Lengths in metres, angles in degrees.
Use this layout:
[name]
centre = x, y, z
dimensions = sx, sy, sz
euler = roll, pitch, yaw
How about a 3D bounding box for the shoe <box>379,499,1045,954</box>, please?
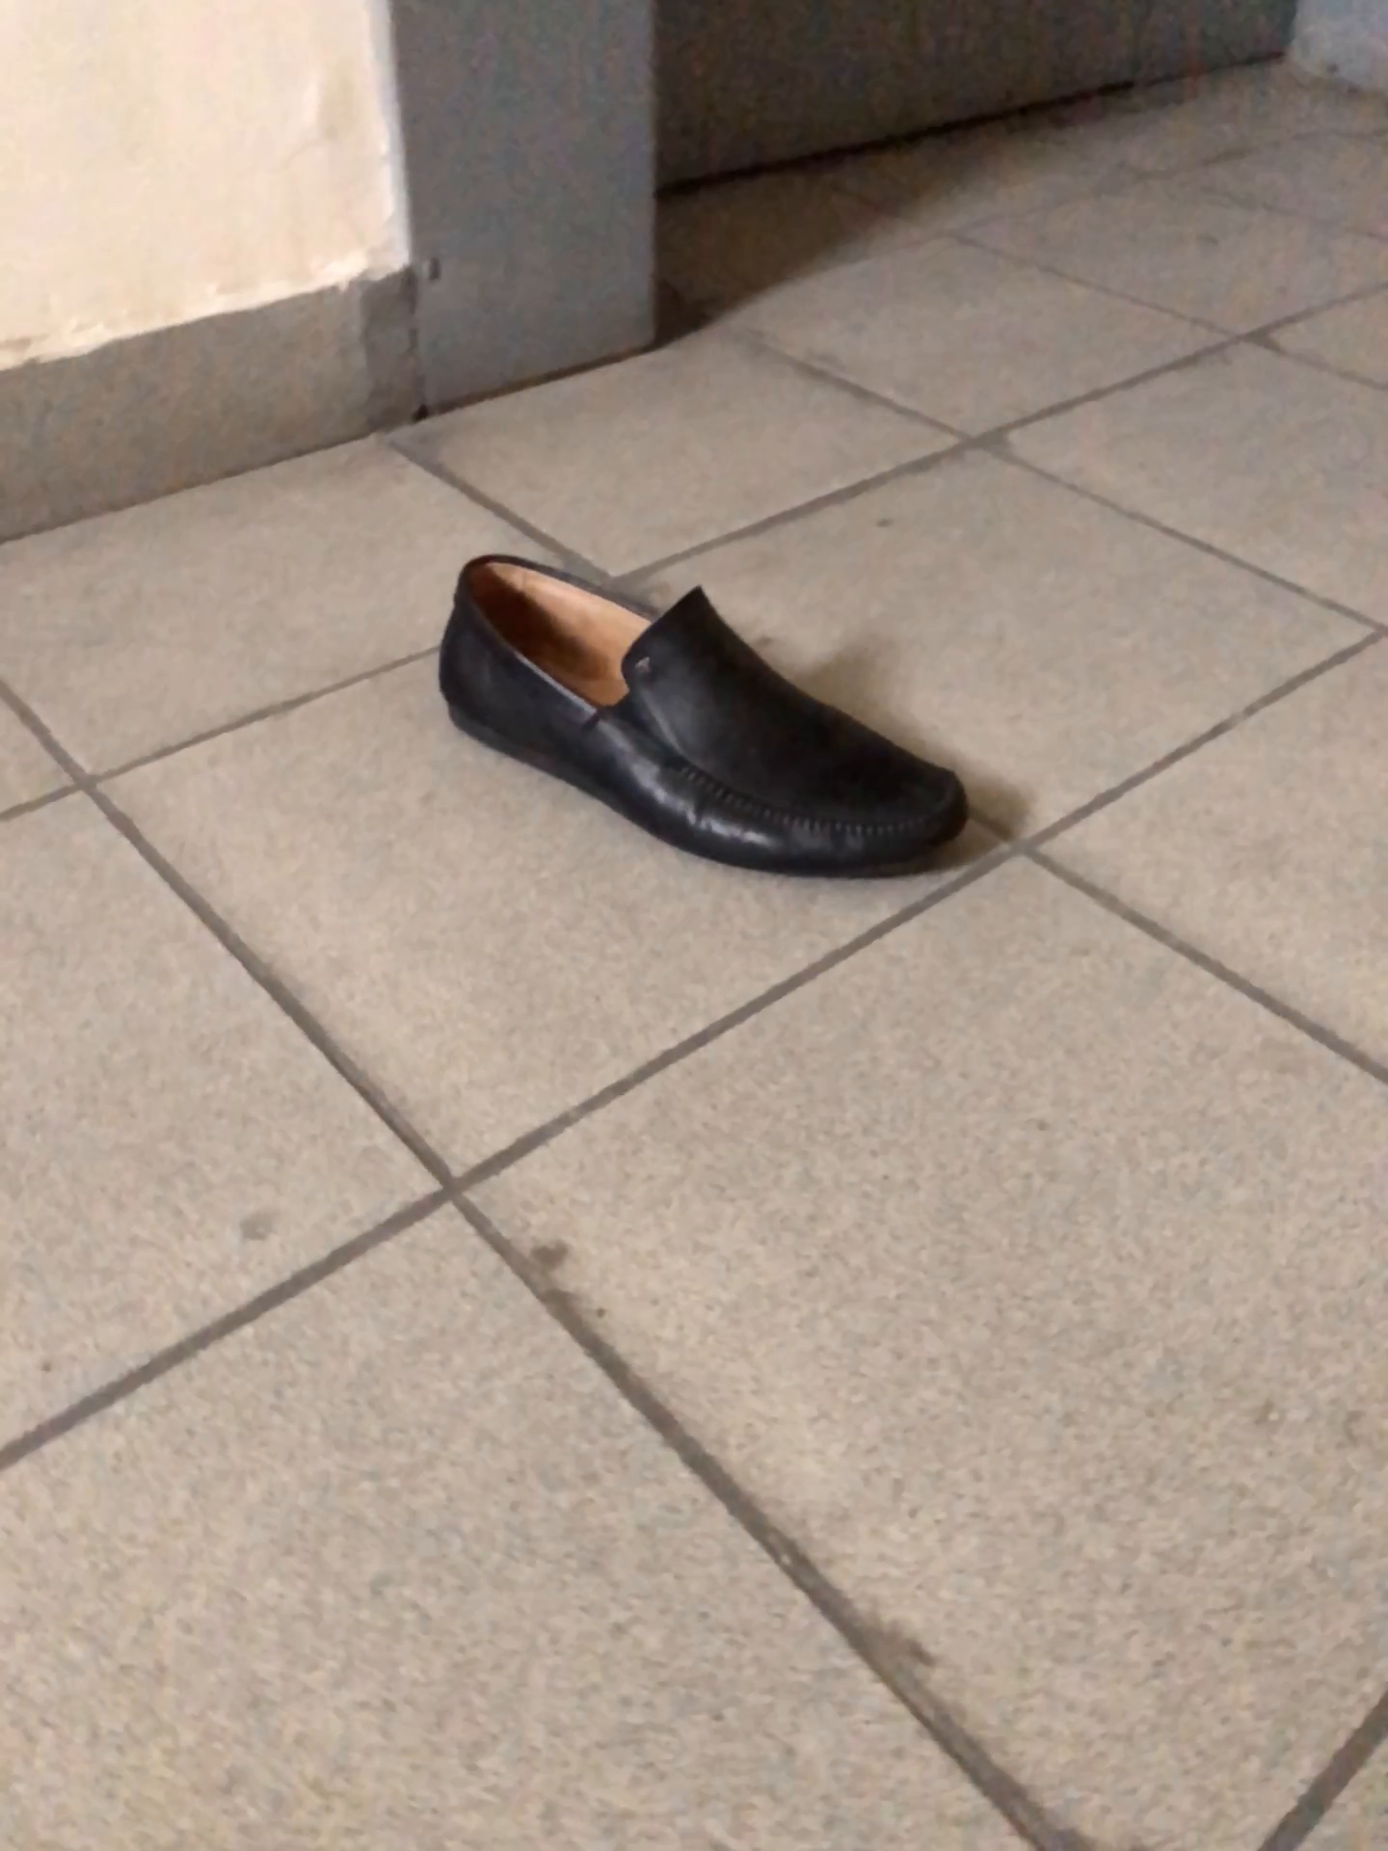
[shoe]
centre = 0.003, -0.098, 0.680
dimensions = 0.271, 0.079, 0.108
euler = 24, 46, 24
